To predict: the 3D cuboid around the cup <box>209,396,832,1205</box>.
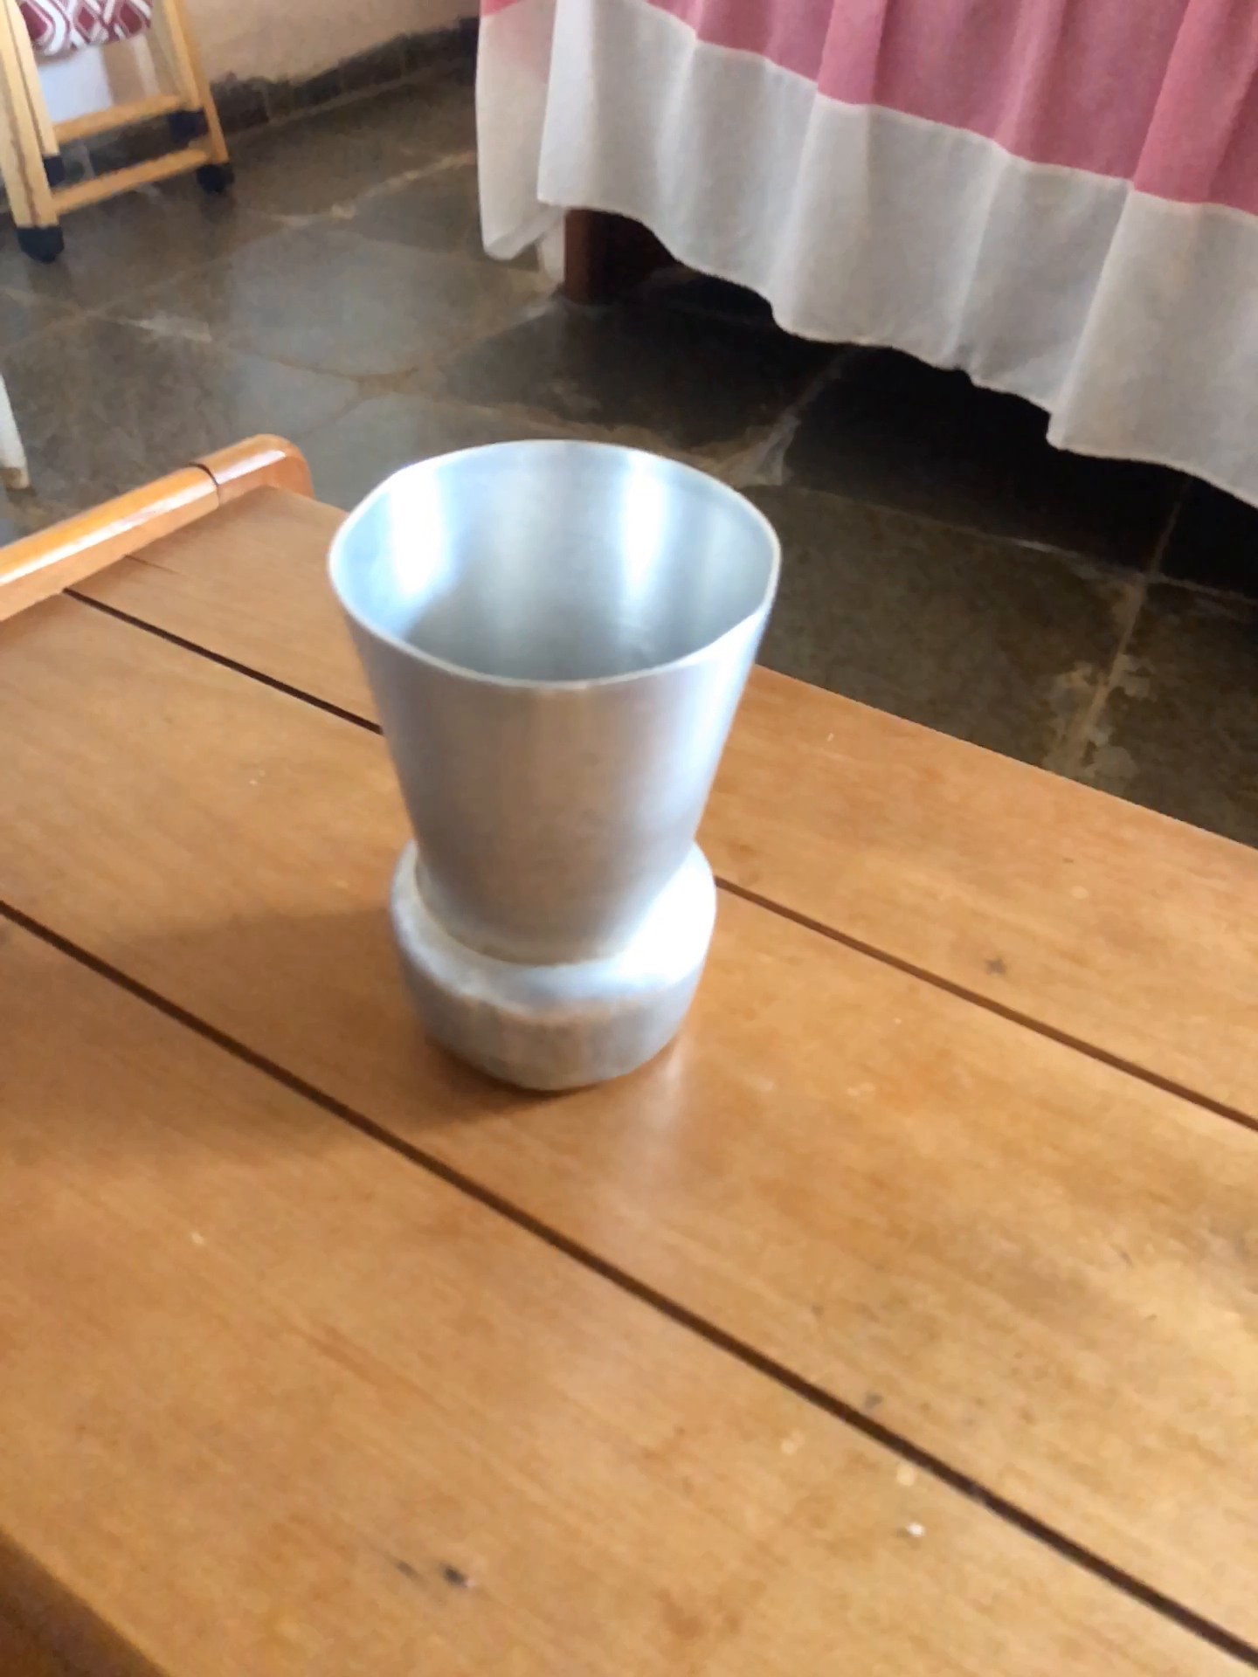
[{"bbox_3d":[-0.017,-0.007,0.251,0.070,0.109,0.070,2,40,-2],"label":"cup"}]
